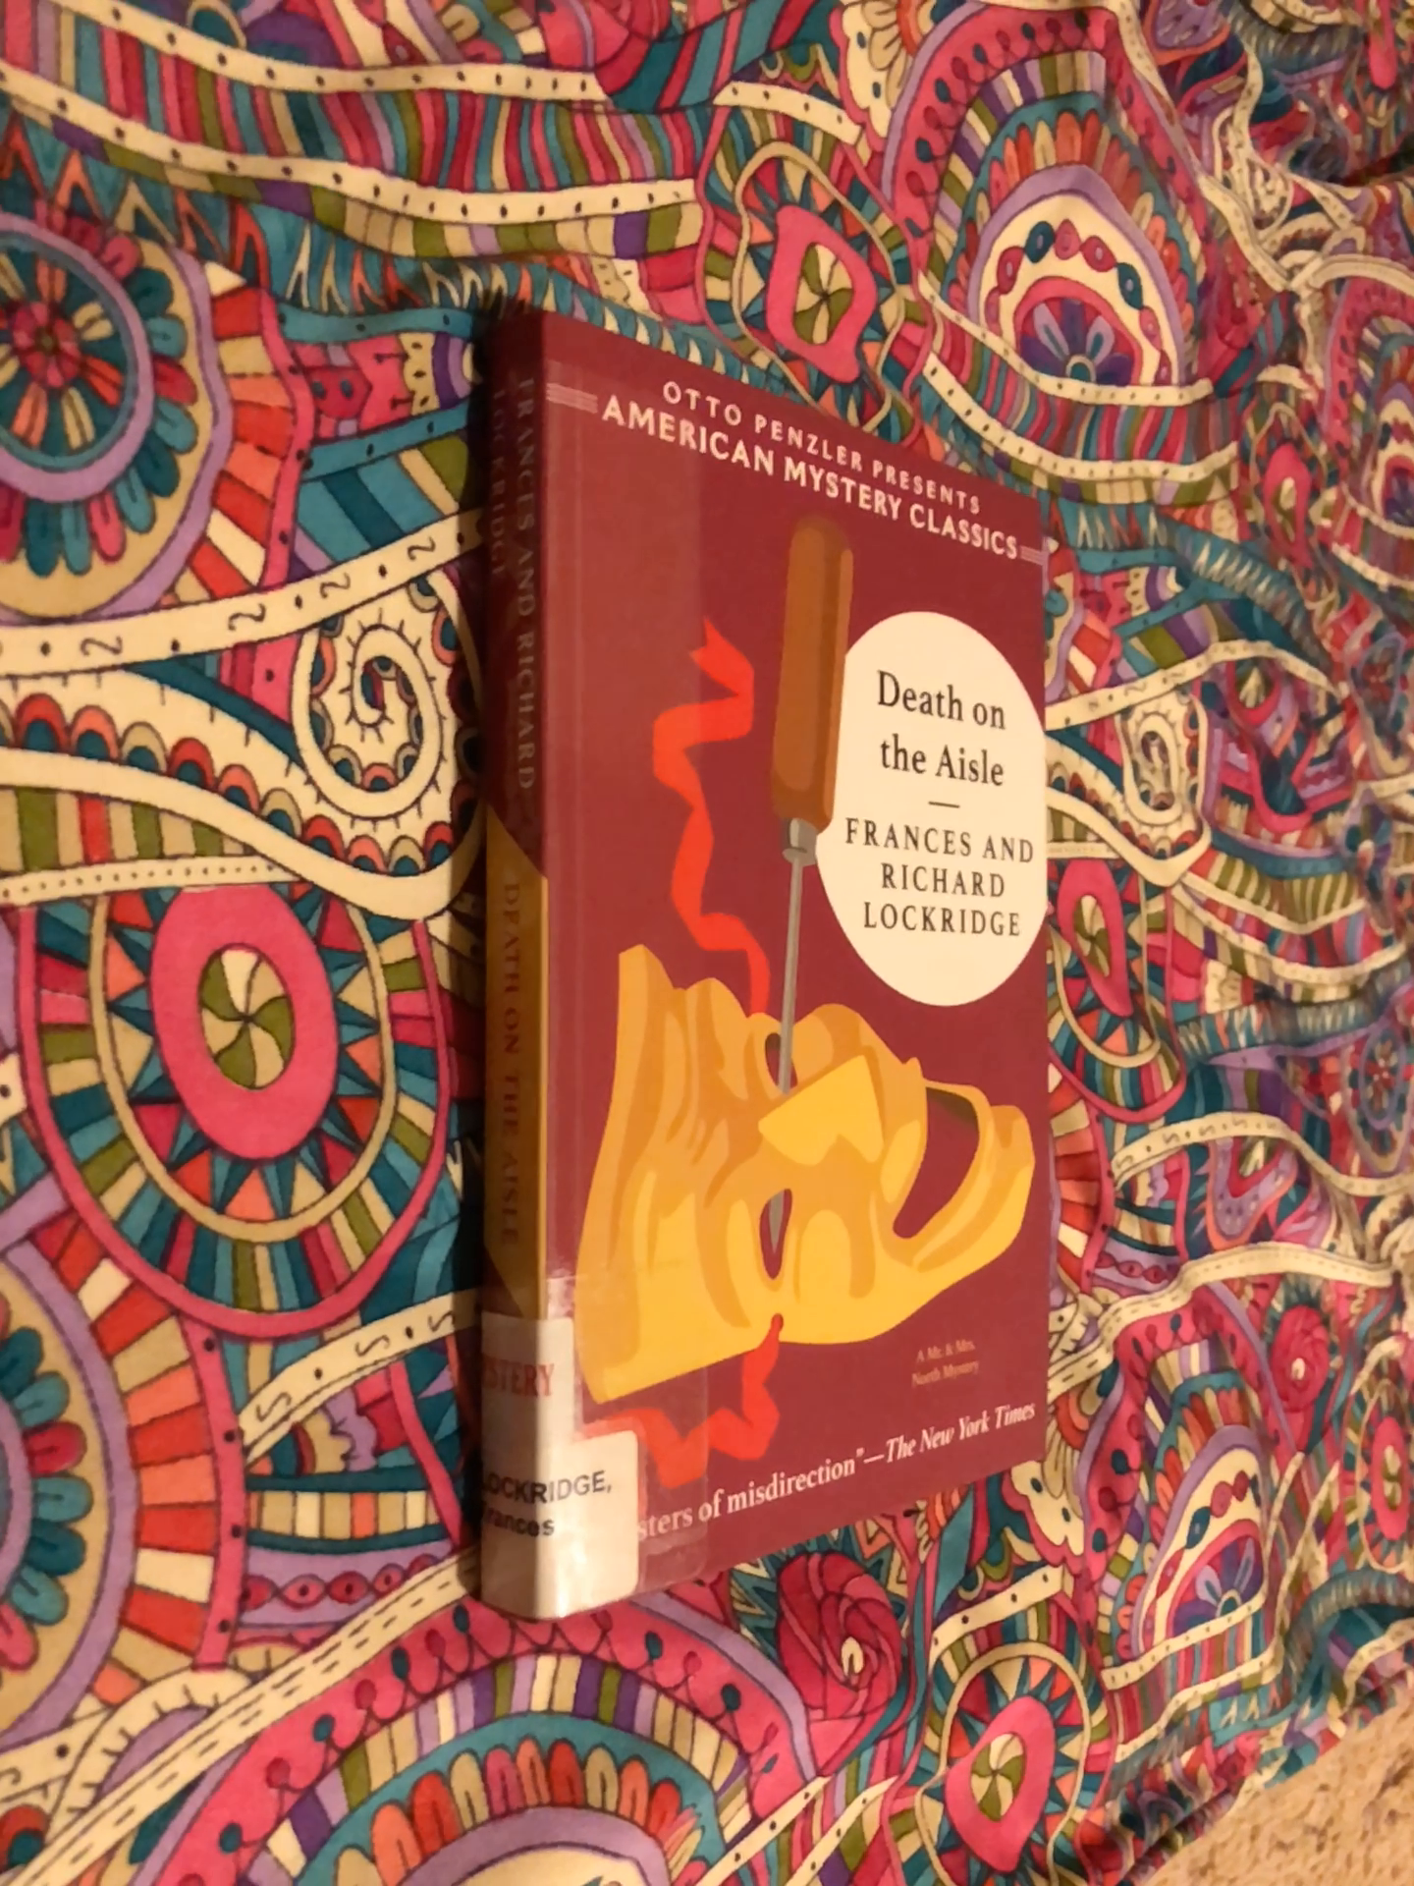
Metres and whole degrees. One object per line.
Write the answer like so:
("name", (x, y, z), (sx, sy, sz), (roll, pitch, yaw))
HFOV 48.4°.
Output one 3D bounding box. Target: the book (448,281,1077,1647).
("book", (0.018, 0.004, 0.283), (0.138, 0.024, 0.196), (3, 87, -45))
